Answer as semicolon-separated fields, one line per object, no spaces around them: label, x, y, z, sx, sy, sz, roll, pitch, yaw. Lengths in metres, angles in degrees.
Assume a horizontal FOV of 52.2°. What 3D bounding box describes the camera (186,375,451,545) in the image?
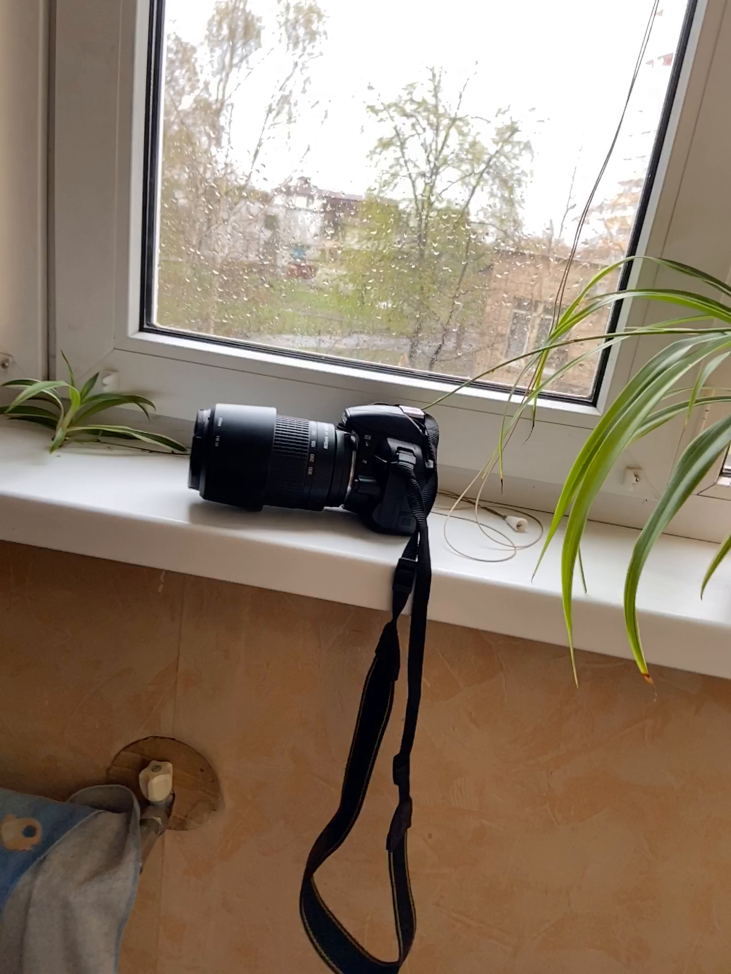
camera;-0.044;-0.025;0.617;0.190;0.089;0.126;5;20;-11
